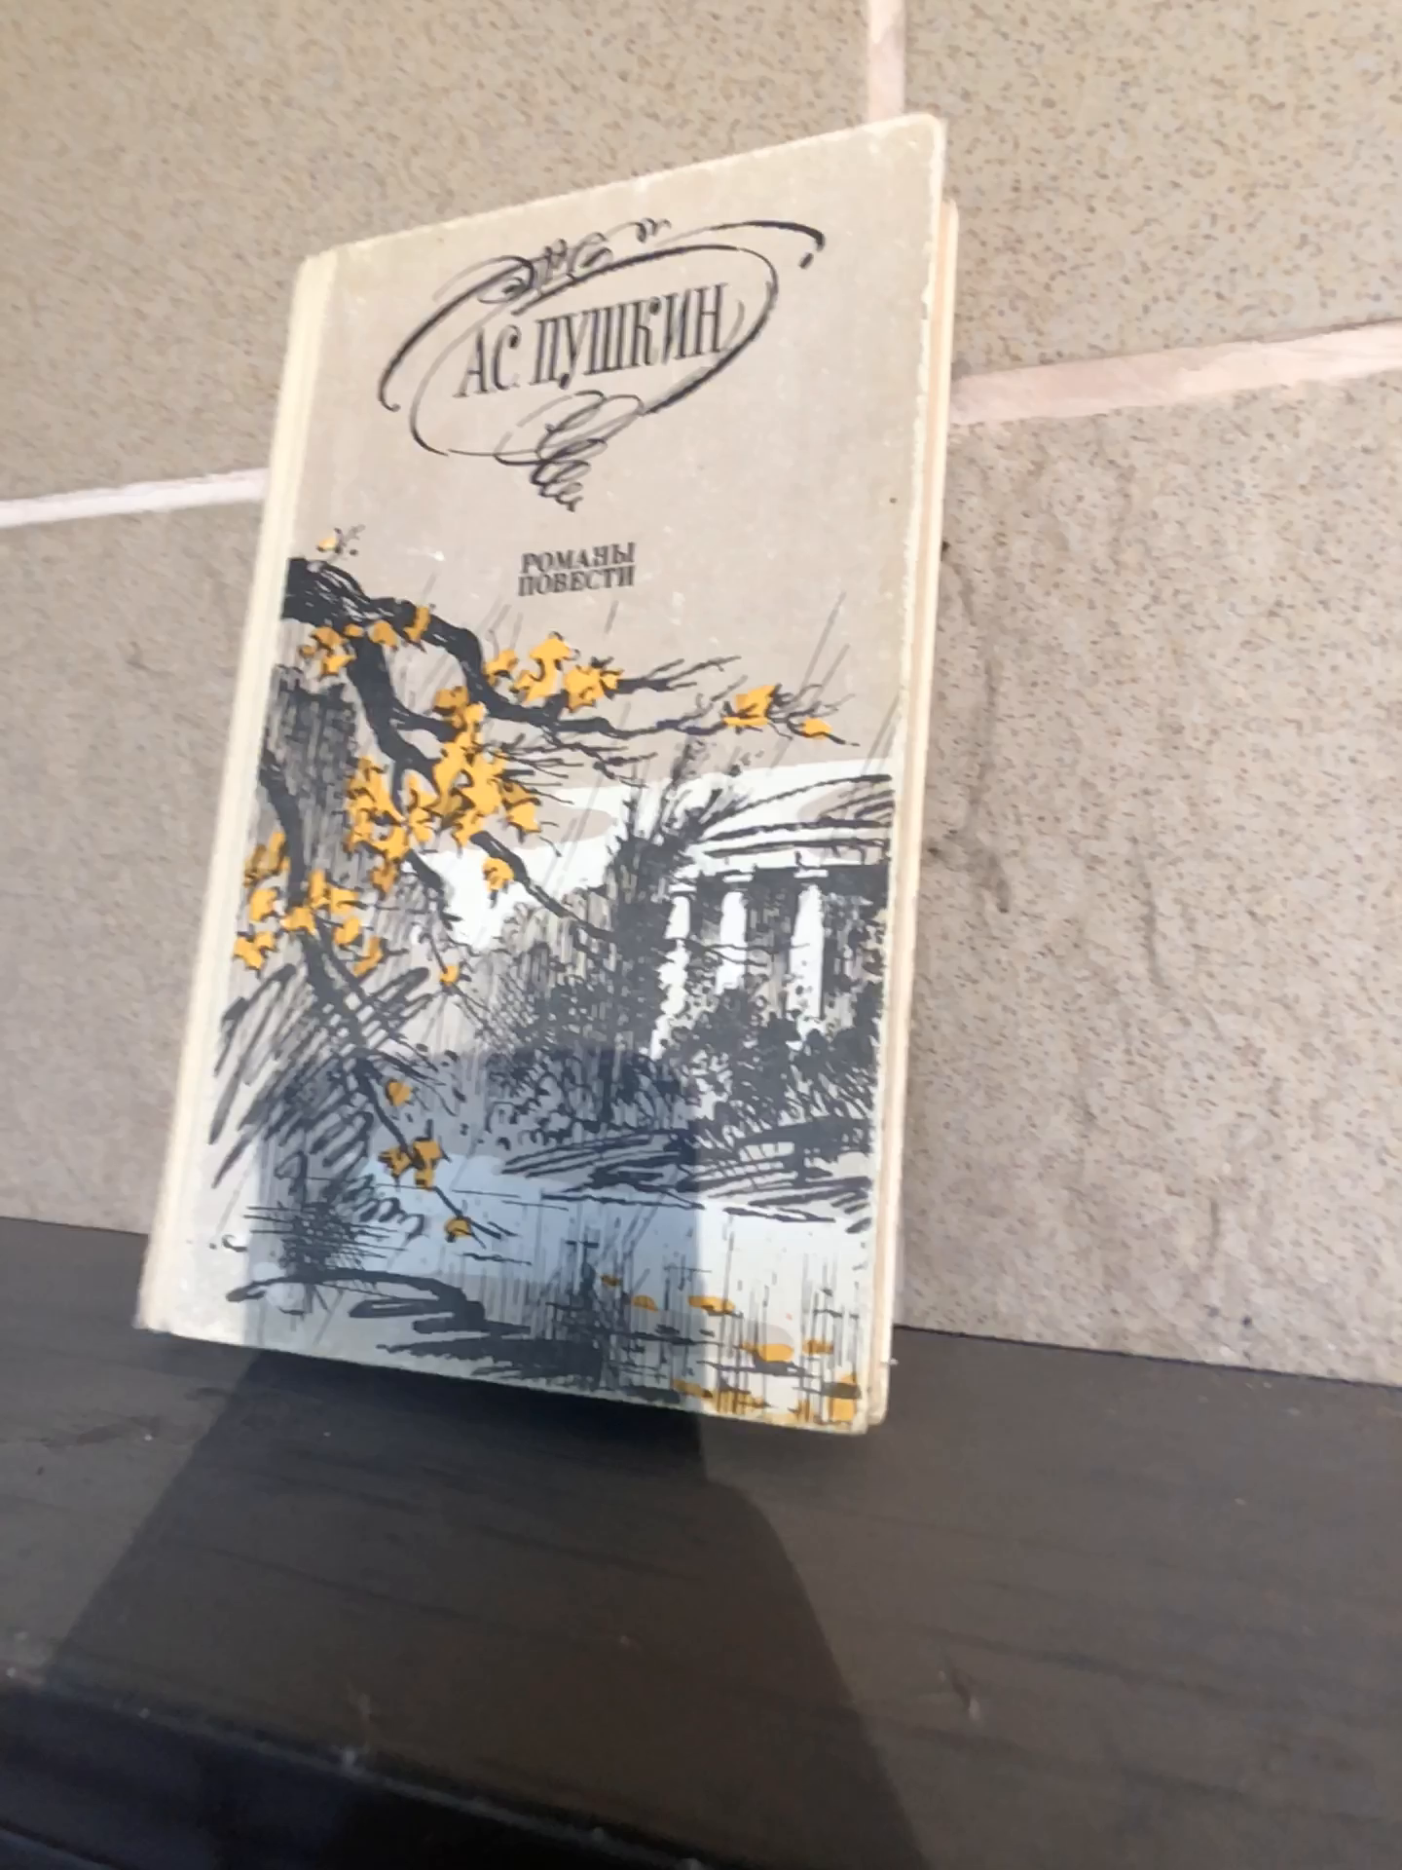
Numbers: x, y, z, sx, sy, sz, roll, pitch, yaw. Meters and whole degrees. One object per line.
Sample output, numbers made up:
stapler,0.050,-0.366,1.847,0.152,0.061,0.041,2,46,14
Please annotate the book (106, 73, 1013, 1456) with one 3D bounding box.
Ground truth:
book,-0.021,-0.029,0.258,0.125,0.198,0.040,1,-11,25
